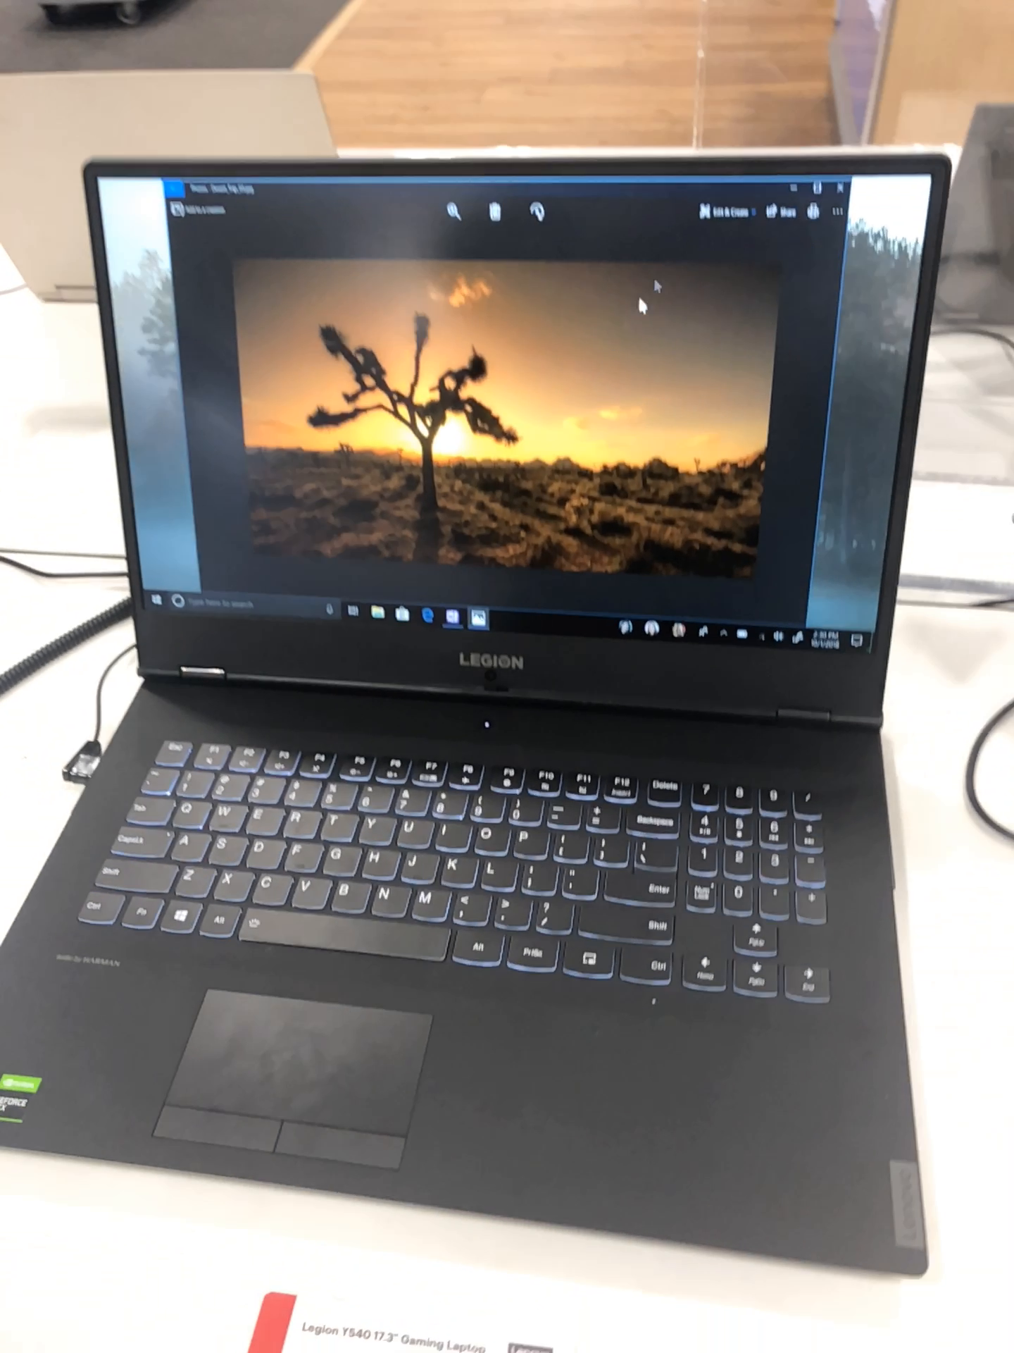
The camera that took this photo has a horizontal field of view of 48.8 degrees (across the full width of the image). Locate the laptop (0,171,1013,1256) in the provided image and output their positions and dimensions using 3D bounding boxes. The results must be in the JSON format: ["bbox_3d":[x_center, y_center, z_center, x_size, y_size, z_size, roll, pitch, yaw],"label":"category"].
[{"bbox_3d":[-0.038,-0.018,0.470,0.382,0.241,0.359,4,44,8],"label":"laptop"}]
